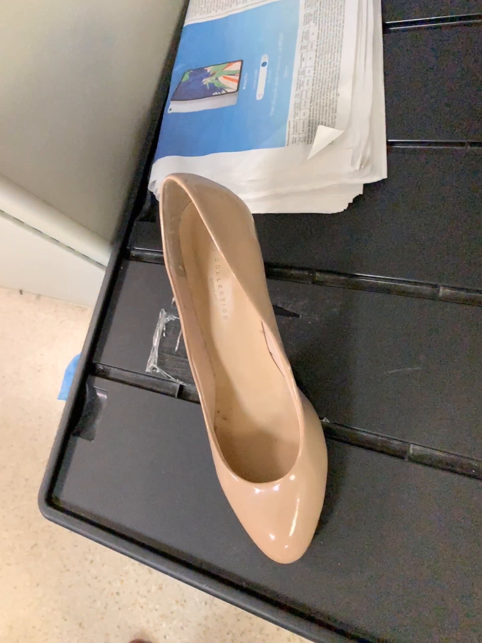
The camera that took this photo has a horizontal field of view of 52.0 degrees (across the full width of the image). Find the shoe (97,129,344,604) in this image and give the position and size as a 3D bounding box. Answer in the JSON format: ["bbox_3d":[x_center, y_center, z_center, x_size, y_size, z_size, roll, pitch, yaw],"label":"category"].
[{"bbox_3d":[-0.001,0.029,0.327,0.097,0.141,0.240,-6,73,22],"label":"shoe"}]
